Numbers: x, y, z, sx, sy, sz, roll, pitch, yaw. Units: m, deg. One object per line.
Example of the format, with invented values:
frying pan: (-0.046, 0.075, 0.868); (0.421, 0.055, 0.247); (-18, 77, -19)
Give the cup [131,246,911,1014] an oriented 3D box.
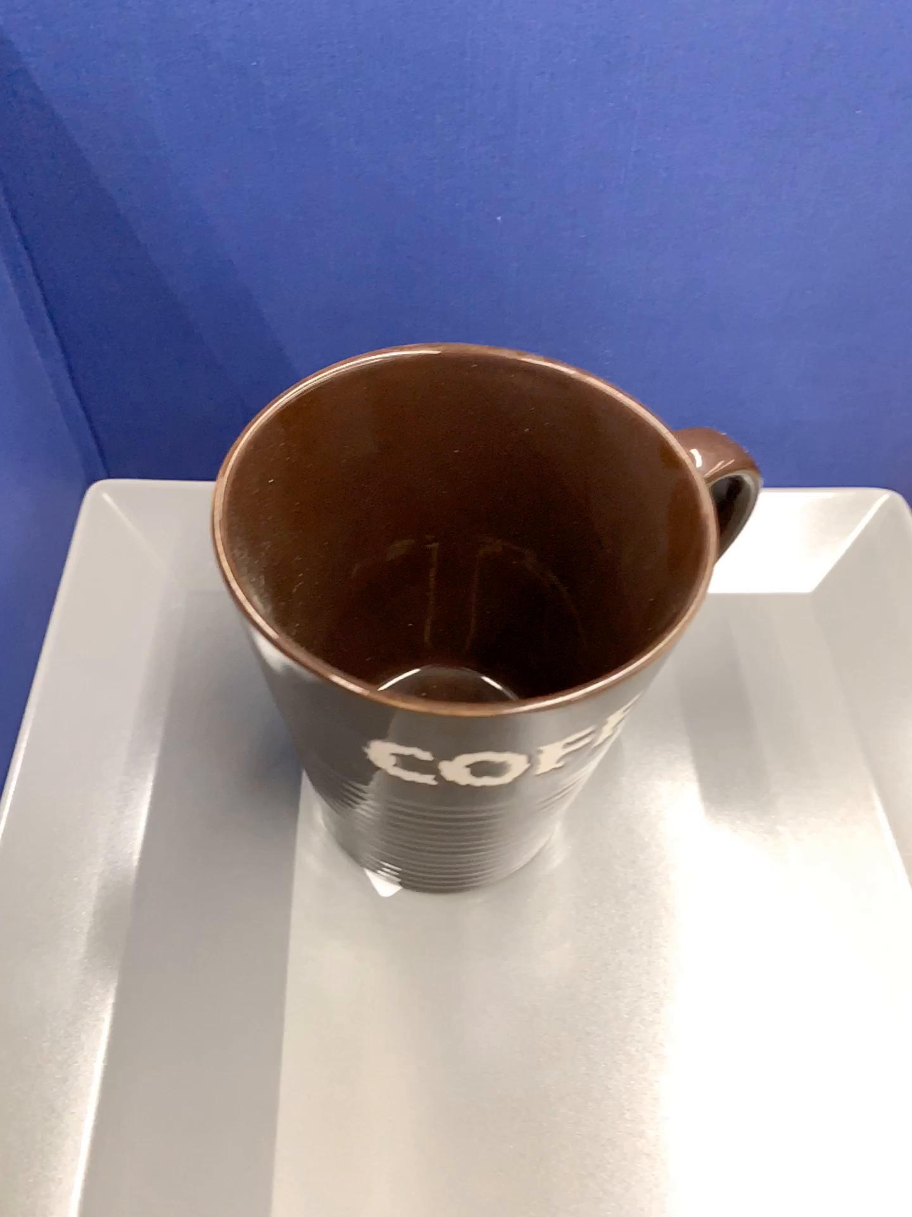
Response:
cup: (0.016, 0.001, 0.217); (0.128, 0.098, 0.089); (-28, 58, -23)
